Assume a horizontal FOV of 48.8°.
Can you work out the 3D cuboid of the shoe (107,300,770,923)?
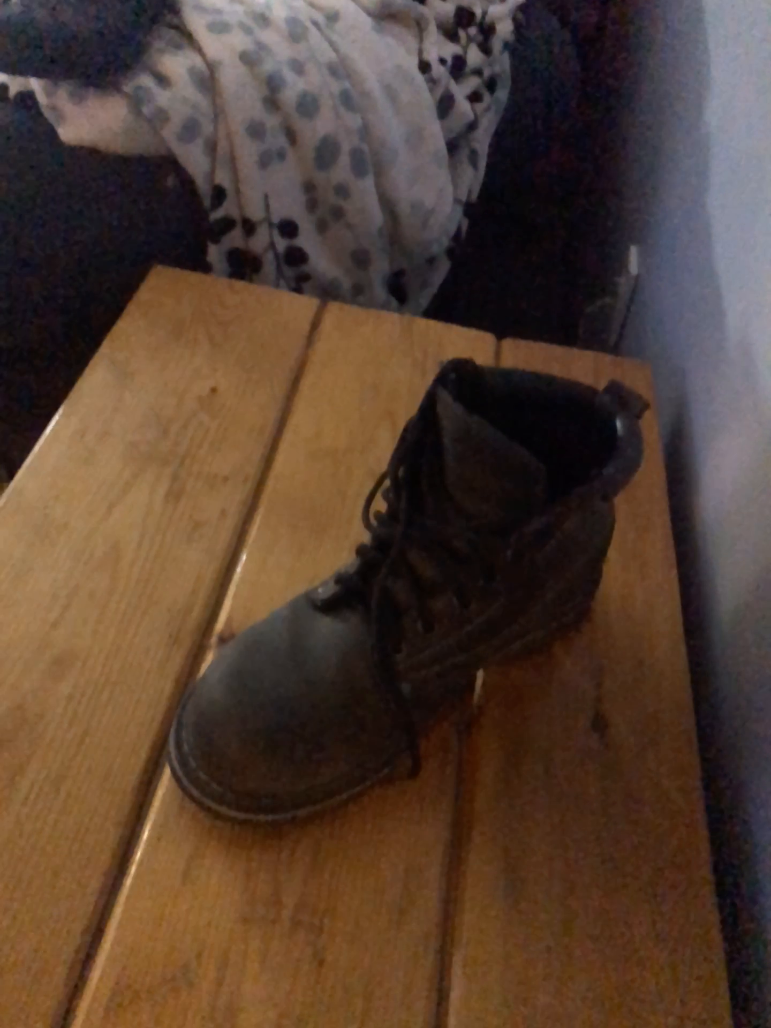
[{"bbox_3d":[0.040,0.037,0.461,0.320,0.189,0.130,-24,55,-29],"label":"shoe"}]
